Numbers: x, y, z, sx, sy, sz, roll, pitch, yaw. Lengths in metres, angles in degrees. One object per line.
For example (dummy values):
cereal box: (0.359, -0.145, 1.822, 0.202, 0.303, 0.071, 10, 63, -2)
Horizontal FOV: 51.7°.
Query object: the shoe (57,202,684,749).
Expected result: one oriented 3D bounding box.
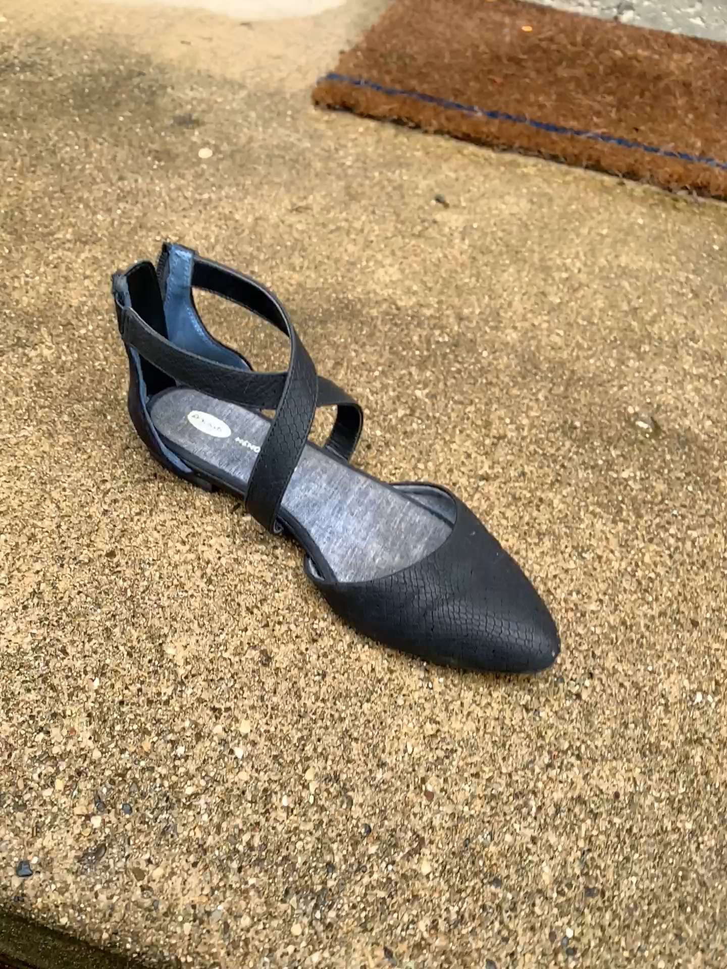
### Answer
shoe: (-0.011, -0.017, 0.359, 0.263, 0.113, 0.097, 33, 51, 20)
